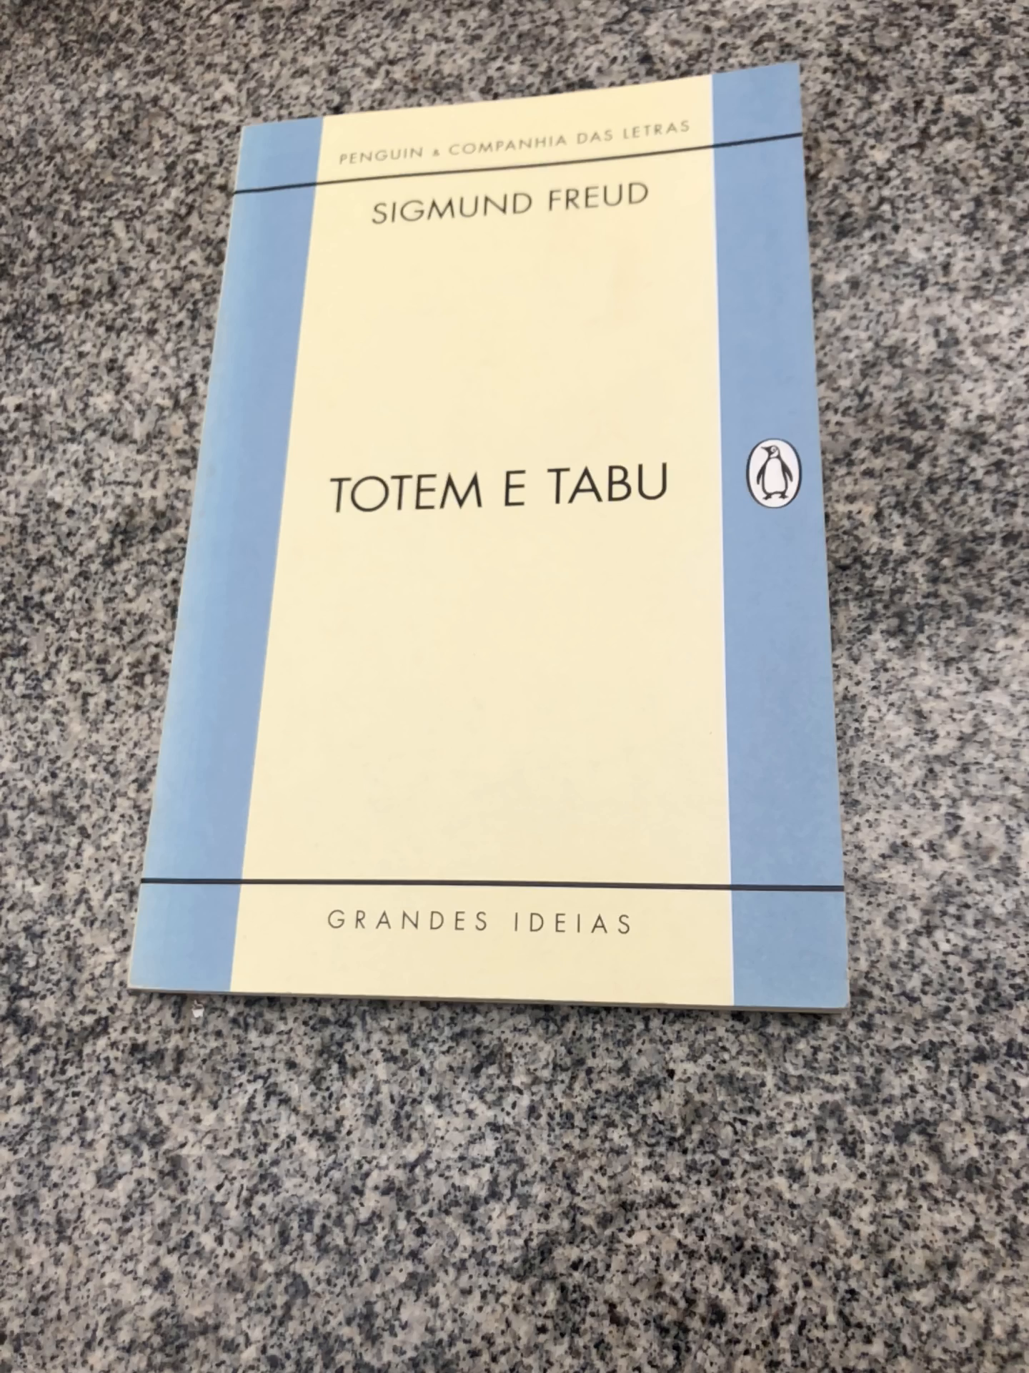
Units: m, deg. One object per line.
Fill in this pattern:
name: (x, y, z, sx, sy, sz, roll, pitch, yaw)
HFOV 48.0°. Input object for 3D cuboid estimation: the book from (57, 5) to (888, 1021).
book: (-0.005, -0.041, 0.214, 0.130, 0.015, 0.191, 0, 71, 10)
